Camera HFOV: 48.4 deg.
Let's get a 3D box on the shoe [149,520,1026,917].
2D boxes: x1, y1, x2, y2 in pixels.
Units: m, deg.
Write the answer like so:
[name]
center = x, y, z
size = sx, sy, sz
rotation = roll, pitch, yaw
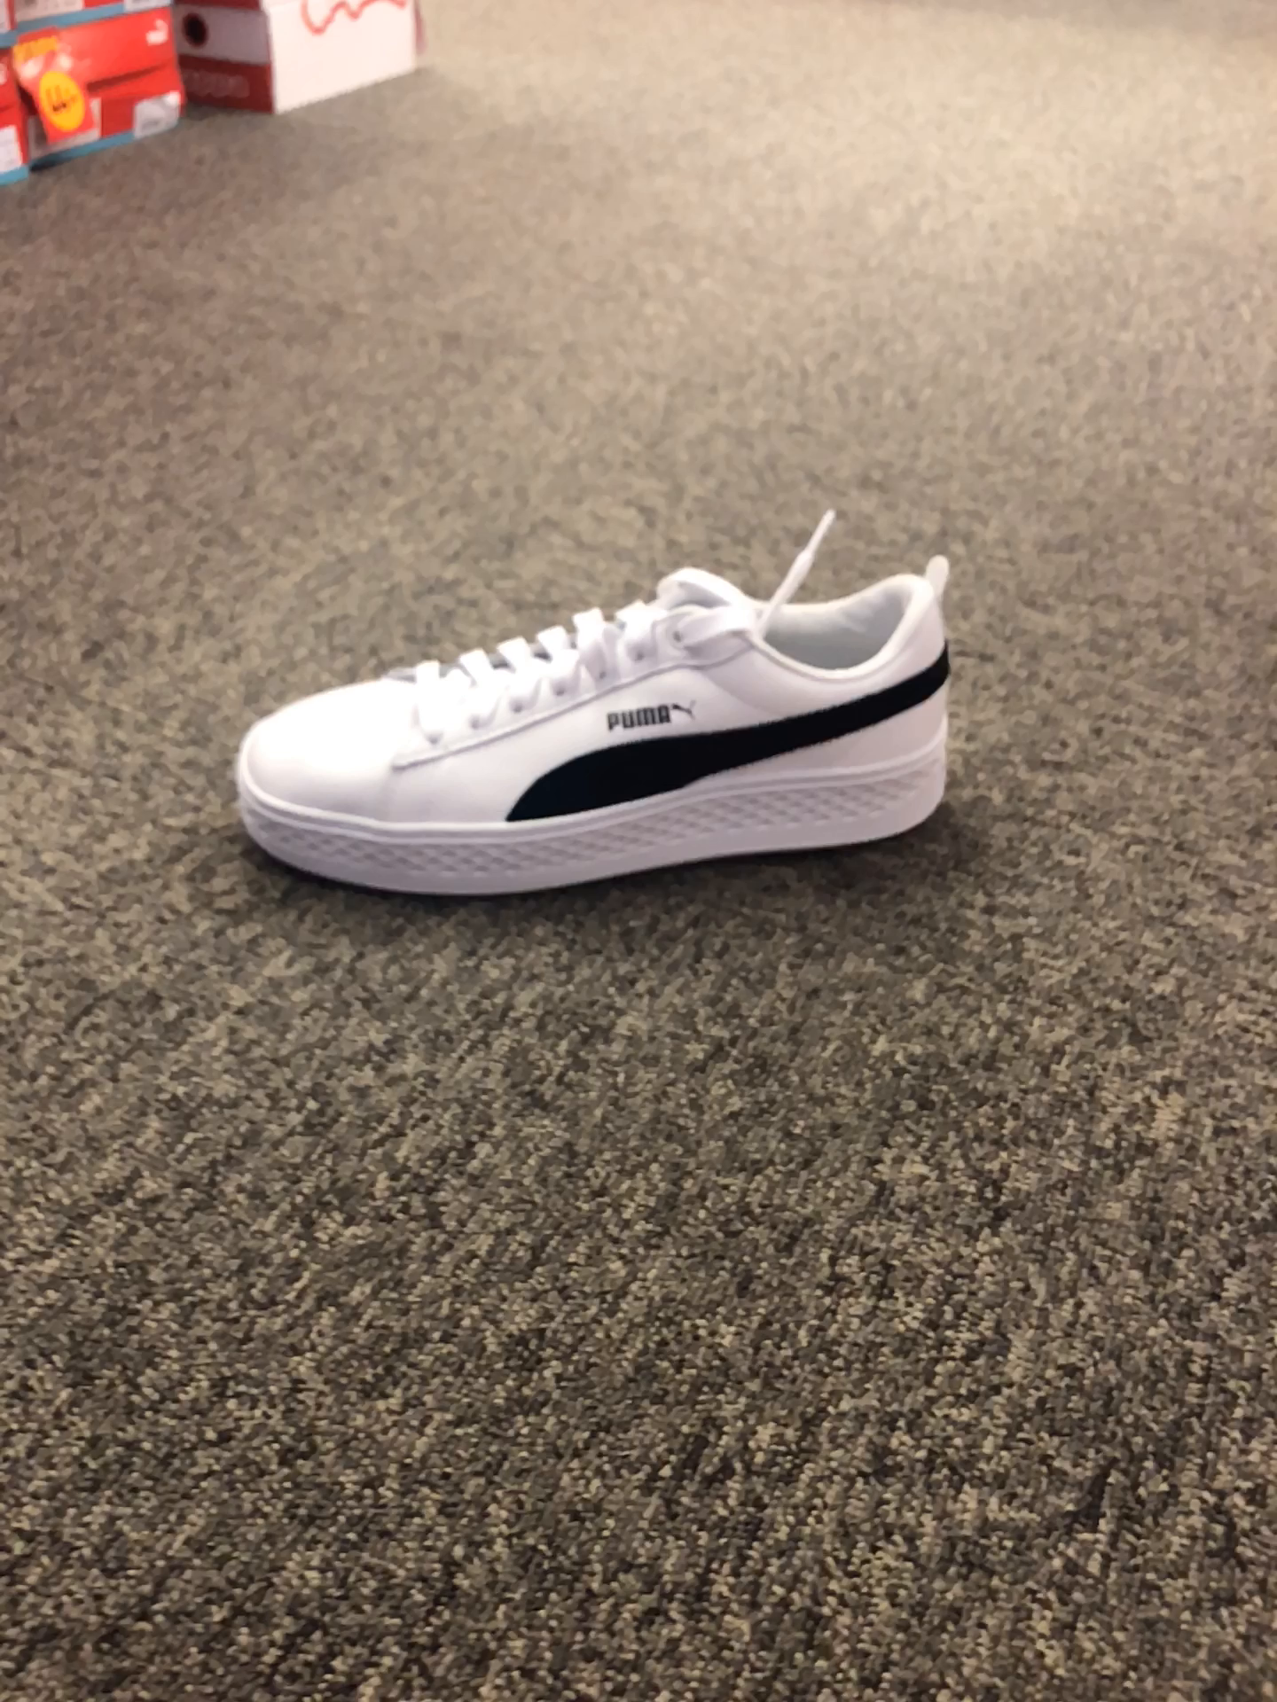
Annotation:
[shoe]
center = -0.018, -0.054, 0.540
size = 0.290, 0.089, 0.111
rotation = -3, 38, -4
